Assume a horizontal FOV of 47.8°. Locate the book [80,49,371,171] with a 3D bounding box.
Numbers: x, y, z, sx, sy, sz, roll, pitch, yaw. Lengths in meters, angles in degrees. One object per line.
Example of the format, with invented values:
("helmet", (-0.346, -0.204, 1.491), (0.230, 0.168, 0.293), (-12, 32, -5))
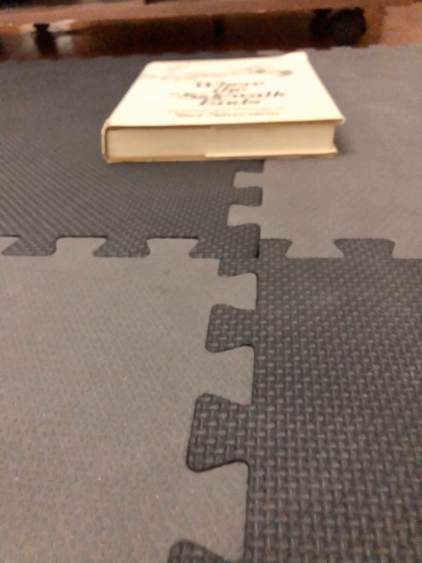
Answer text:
("book", (0.016, -0.175, 0.451), (0.200, 0.030, 0.282), (-1, 34, 5))
